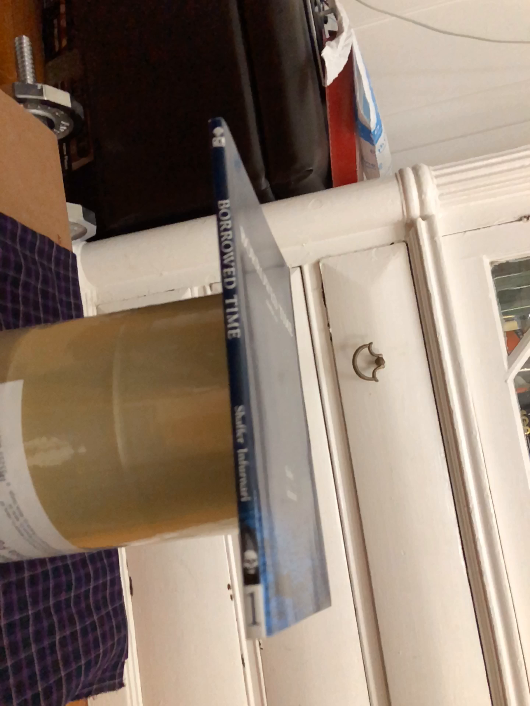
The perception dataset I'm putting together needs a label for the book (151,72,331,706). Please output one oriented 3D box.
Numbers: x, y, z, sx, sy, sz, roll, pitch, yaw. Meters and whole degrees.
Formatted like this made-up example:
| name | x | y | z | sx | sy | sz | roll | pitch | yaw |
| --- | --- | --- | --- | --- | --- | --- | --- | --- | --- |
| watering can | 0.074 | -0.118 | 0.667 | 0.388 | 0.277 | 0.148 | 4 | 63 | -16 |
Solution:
| name | x | y | z | sx | sy | sz | roll | pitch | yaw |
| --- | --- | --- | --- | --- | --- | --- | --- | --- | --- |
| book | -0.006 | 0.025 | 0.254 | 0.160 | 0.010 | 0.230 | 57 | 23 | -65 |
